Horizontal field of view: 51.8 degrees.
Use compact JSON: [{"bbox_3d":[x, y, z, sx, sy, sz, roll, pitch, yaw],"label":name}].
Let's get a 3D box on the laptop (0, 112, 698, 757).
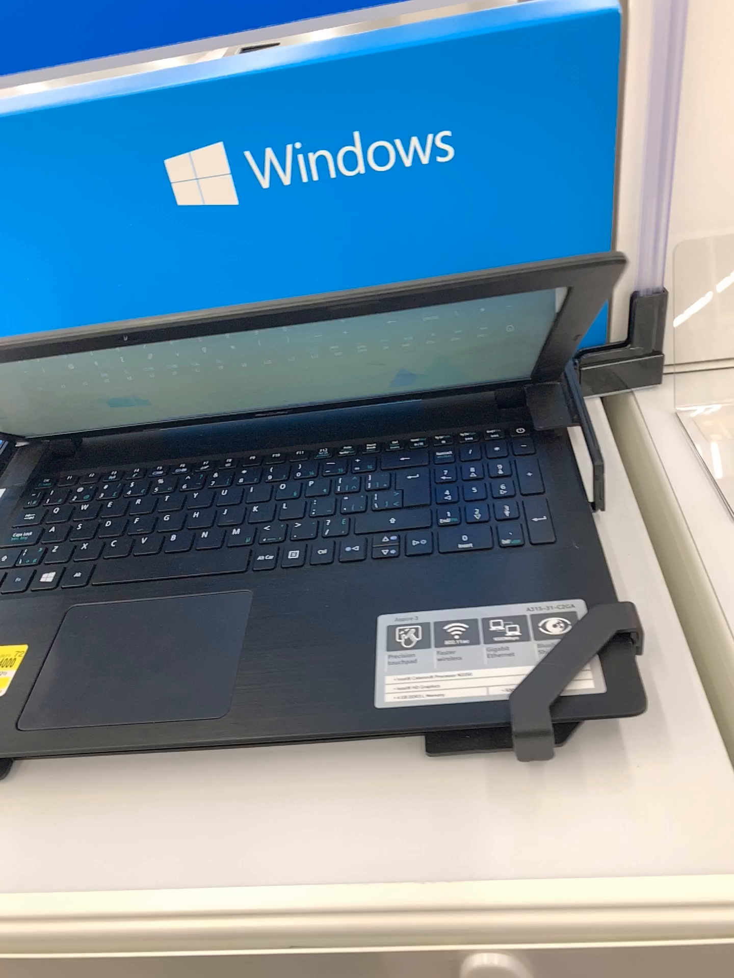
[{"bbox_3d":[-0.070,-0.032,0.348,0.344,0.157,0.234,-6,39,8],"label":"laptop"}]
